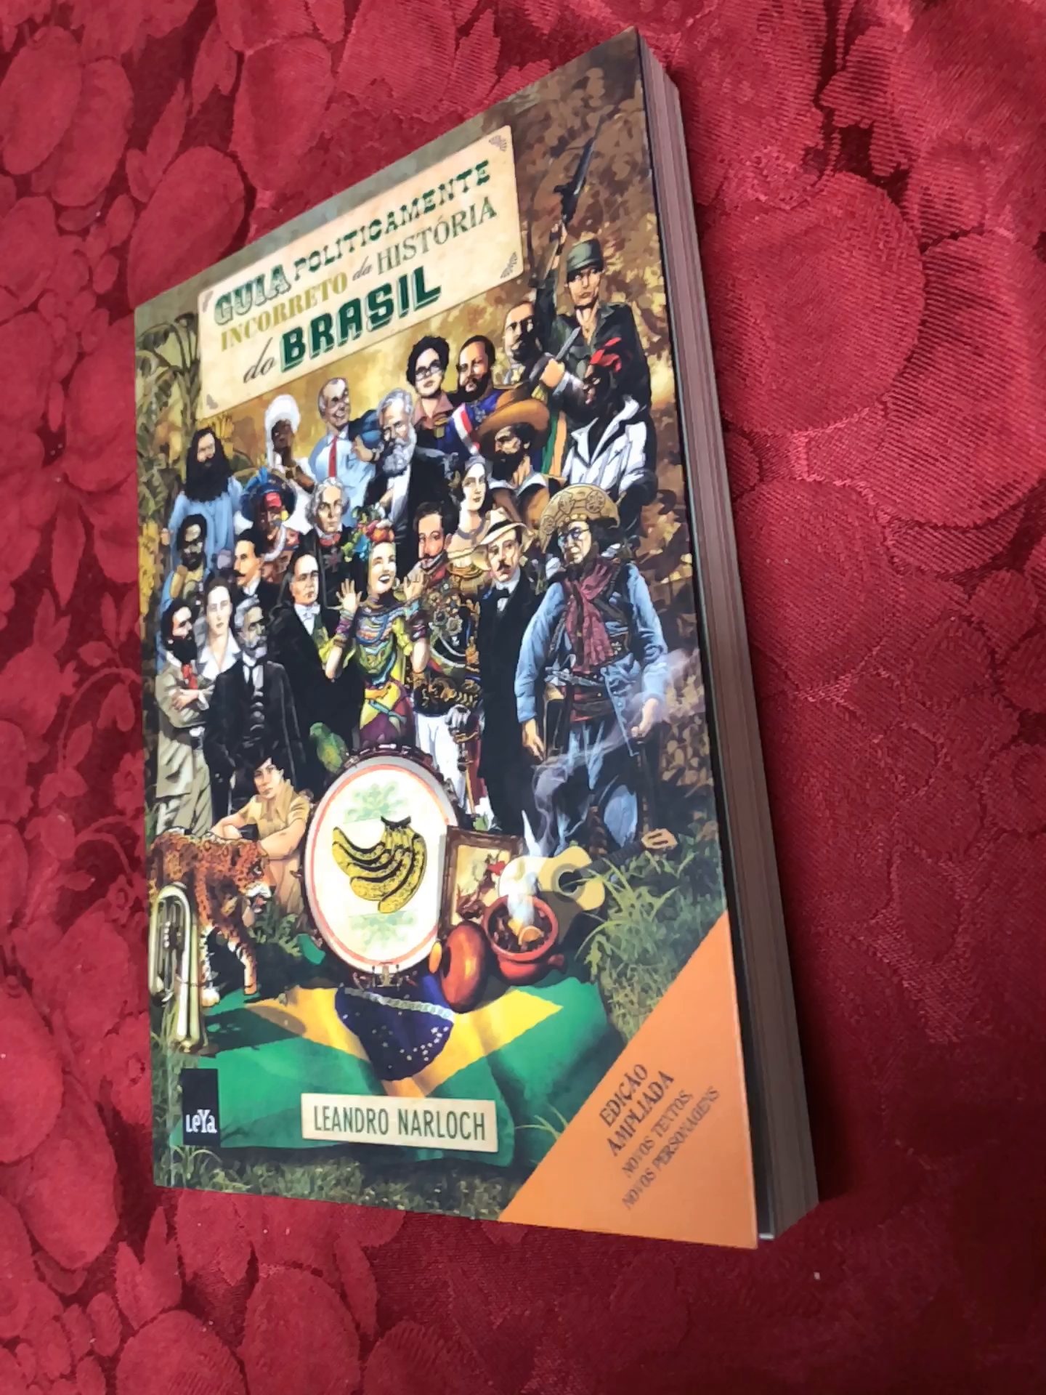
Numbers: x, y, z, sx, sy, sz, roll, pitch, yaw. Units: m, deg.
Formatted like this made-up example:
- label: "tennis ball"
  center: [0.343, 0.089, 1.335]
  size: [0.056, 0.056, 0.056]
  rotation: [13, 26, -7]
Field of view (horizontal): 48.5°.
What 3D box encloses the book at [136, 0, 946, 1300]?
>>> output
- label: "book"
  center: [-0.014, -0.007, 0.250]
  size: [0.161, 0.030, 0.230]
  rotation: [-13, 79, 34]
